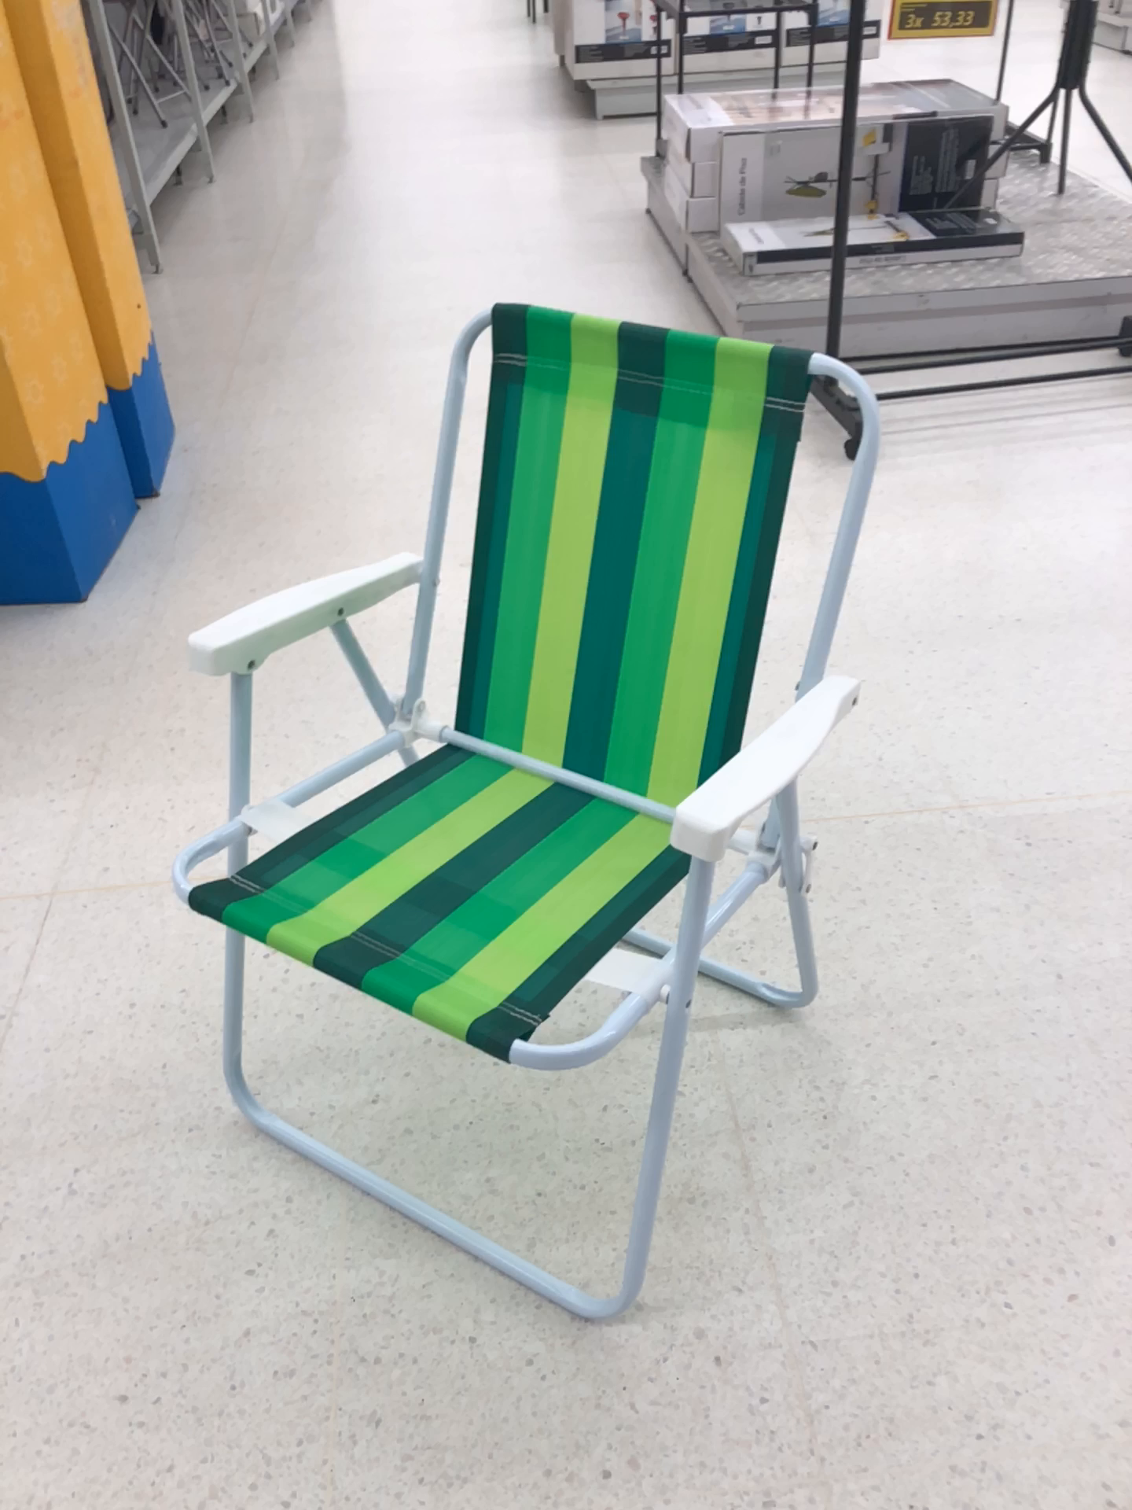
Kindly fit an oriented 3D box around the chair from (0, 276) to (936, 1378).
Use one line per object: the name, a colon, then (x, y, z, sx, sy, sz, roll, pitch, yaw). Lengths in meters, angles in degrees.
chair: (-0.049, 0.029, 1.134, 0.511, 0.715, 0.523, 19, 41, 28)
